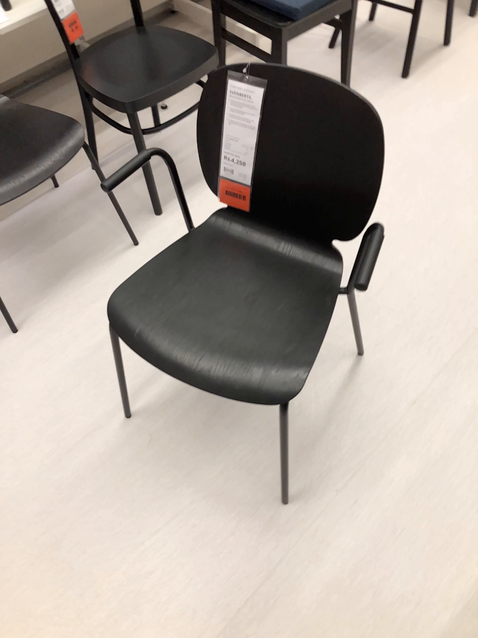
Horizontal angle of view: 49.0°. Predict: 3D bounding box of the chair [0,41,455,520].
[{"bbox_3d":[0.011,-0.059,1.130,0.531,0.686,0.582,25,60,20],"label":"chair"}]
